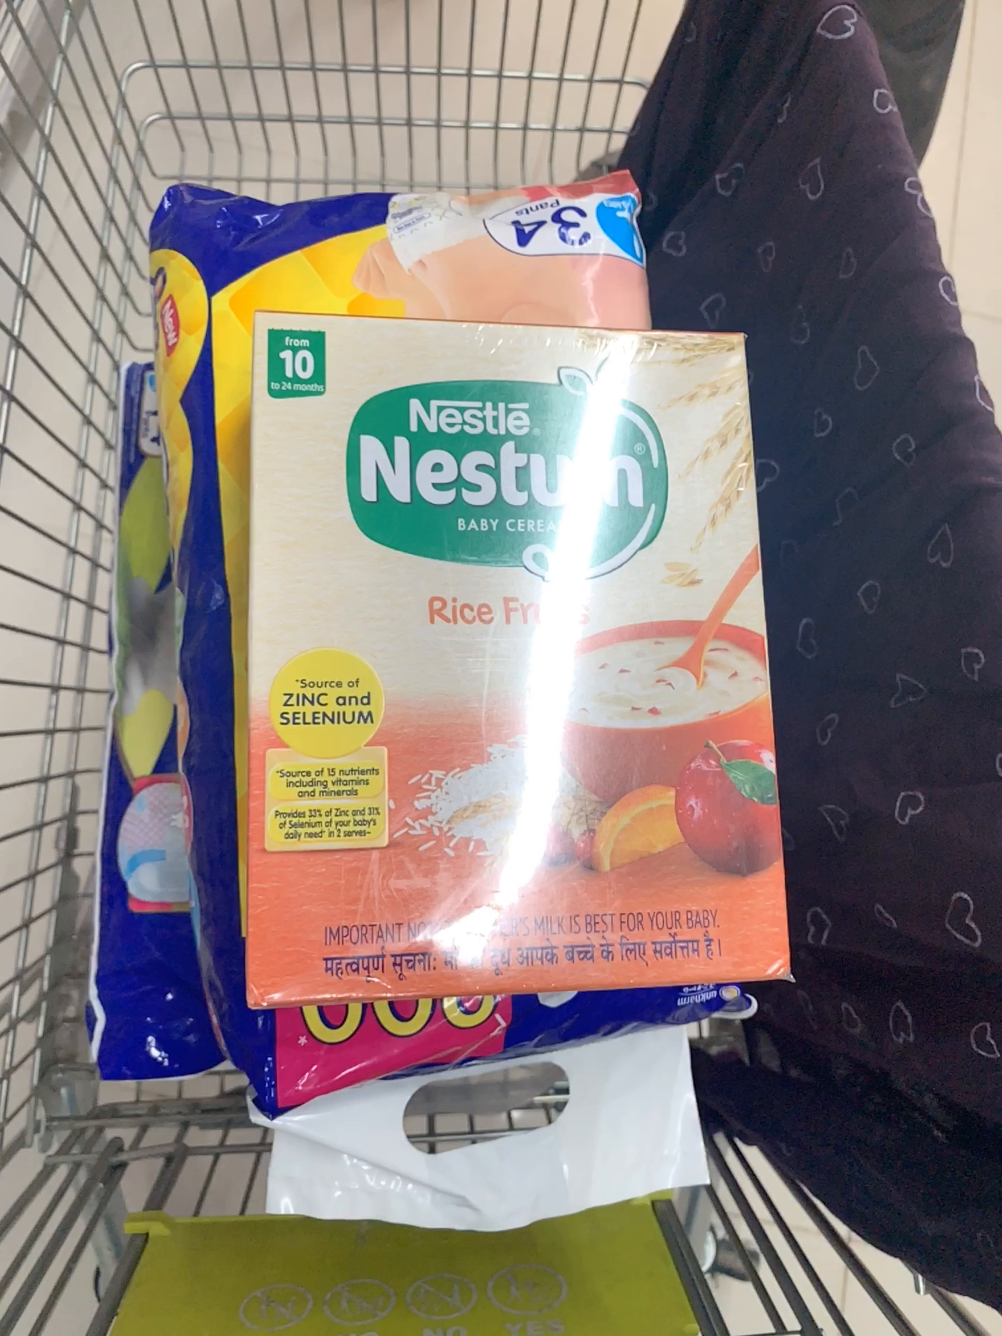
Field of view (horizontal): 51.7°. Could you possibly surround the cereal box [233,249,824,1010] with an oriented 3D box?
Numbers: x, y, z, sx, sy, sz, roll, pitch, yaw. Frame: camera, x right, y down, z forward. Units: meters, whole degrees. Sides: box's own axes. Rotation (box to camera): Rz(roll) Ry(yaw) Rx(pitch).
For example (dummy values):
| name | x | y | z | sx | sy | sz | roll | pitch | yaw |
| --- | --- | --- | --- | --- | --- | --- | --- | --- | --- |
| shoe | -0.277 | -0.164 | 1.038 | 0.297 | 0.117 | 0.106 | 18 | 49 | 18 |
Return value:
| name | x | y | z | sx | sy | sz | roll | pitch | yaw |
| --- | --- | --- | --- | --- | --- | --- | --- | --- | --- |
| cereal box | 0.004 | -0.013 | 0.316 | 0.160 | 0.050 | 0.210 | 0 | 81 | -8 |
